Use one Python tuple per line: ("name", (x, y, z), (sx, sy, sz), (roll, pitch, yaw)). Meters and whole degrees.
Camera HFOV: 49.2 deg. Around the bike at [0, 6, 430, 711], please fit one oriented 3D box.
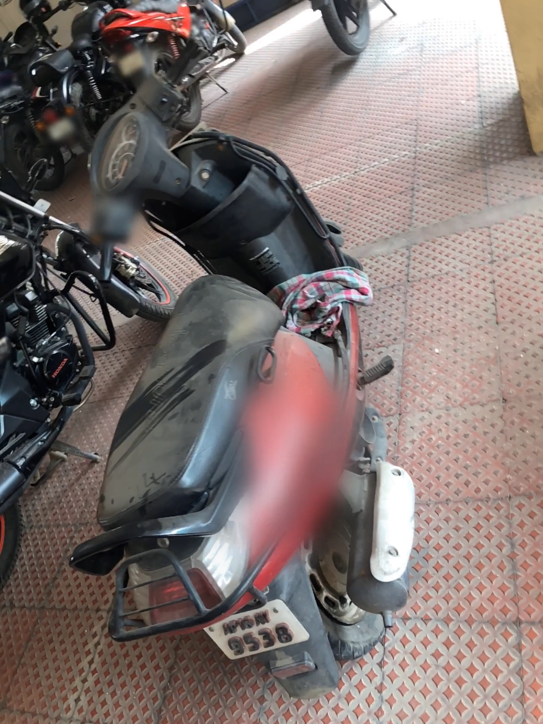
("bike", (-0.209, -0.127, 1.643), (0.600, 1.030, 1.658), (-23, 40, 17))
